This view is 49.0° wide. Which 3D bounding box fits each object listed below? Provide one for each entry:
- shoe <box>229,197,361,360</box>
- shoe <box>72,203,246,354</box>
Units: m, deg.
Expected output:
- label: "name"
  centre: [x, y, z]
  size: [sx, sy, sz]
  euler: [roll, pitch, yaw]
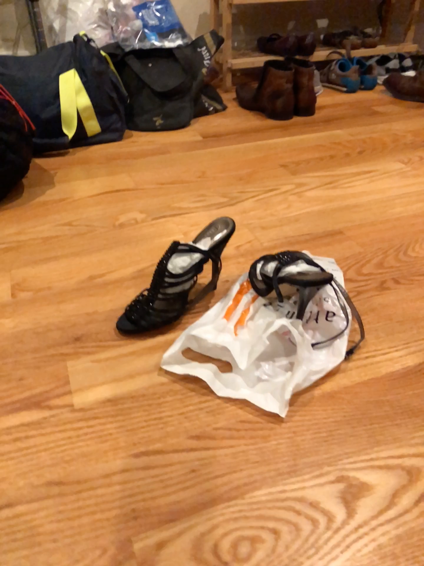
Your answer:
- label: "shoe"
  centre: [0.100, -0.018, 0.646]
  size: [0.092, 0.112, 0.218]
  euler: [-10, 35, -12]
- label: "shoe"
  centre: [-0.064, -0.015, 0.650]
  size: [0.218, 0.112, 0.090]
  euler: [-25, 41, -30]
